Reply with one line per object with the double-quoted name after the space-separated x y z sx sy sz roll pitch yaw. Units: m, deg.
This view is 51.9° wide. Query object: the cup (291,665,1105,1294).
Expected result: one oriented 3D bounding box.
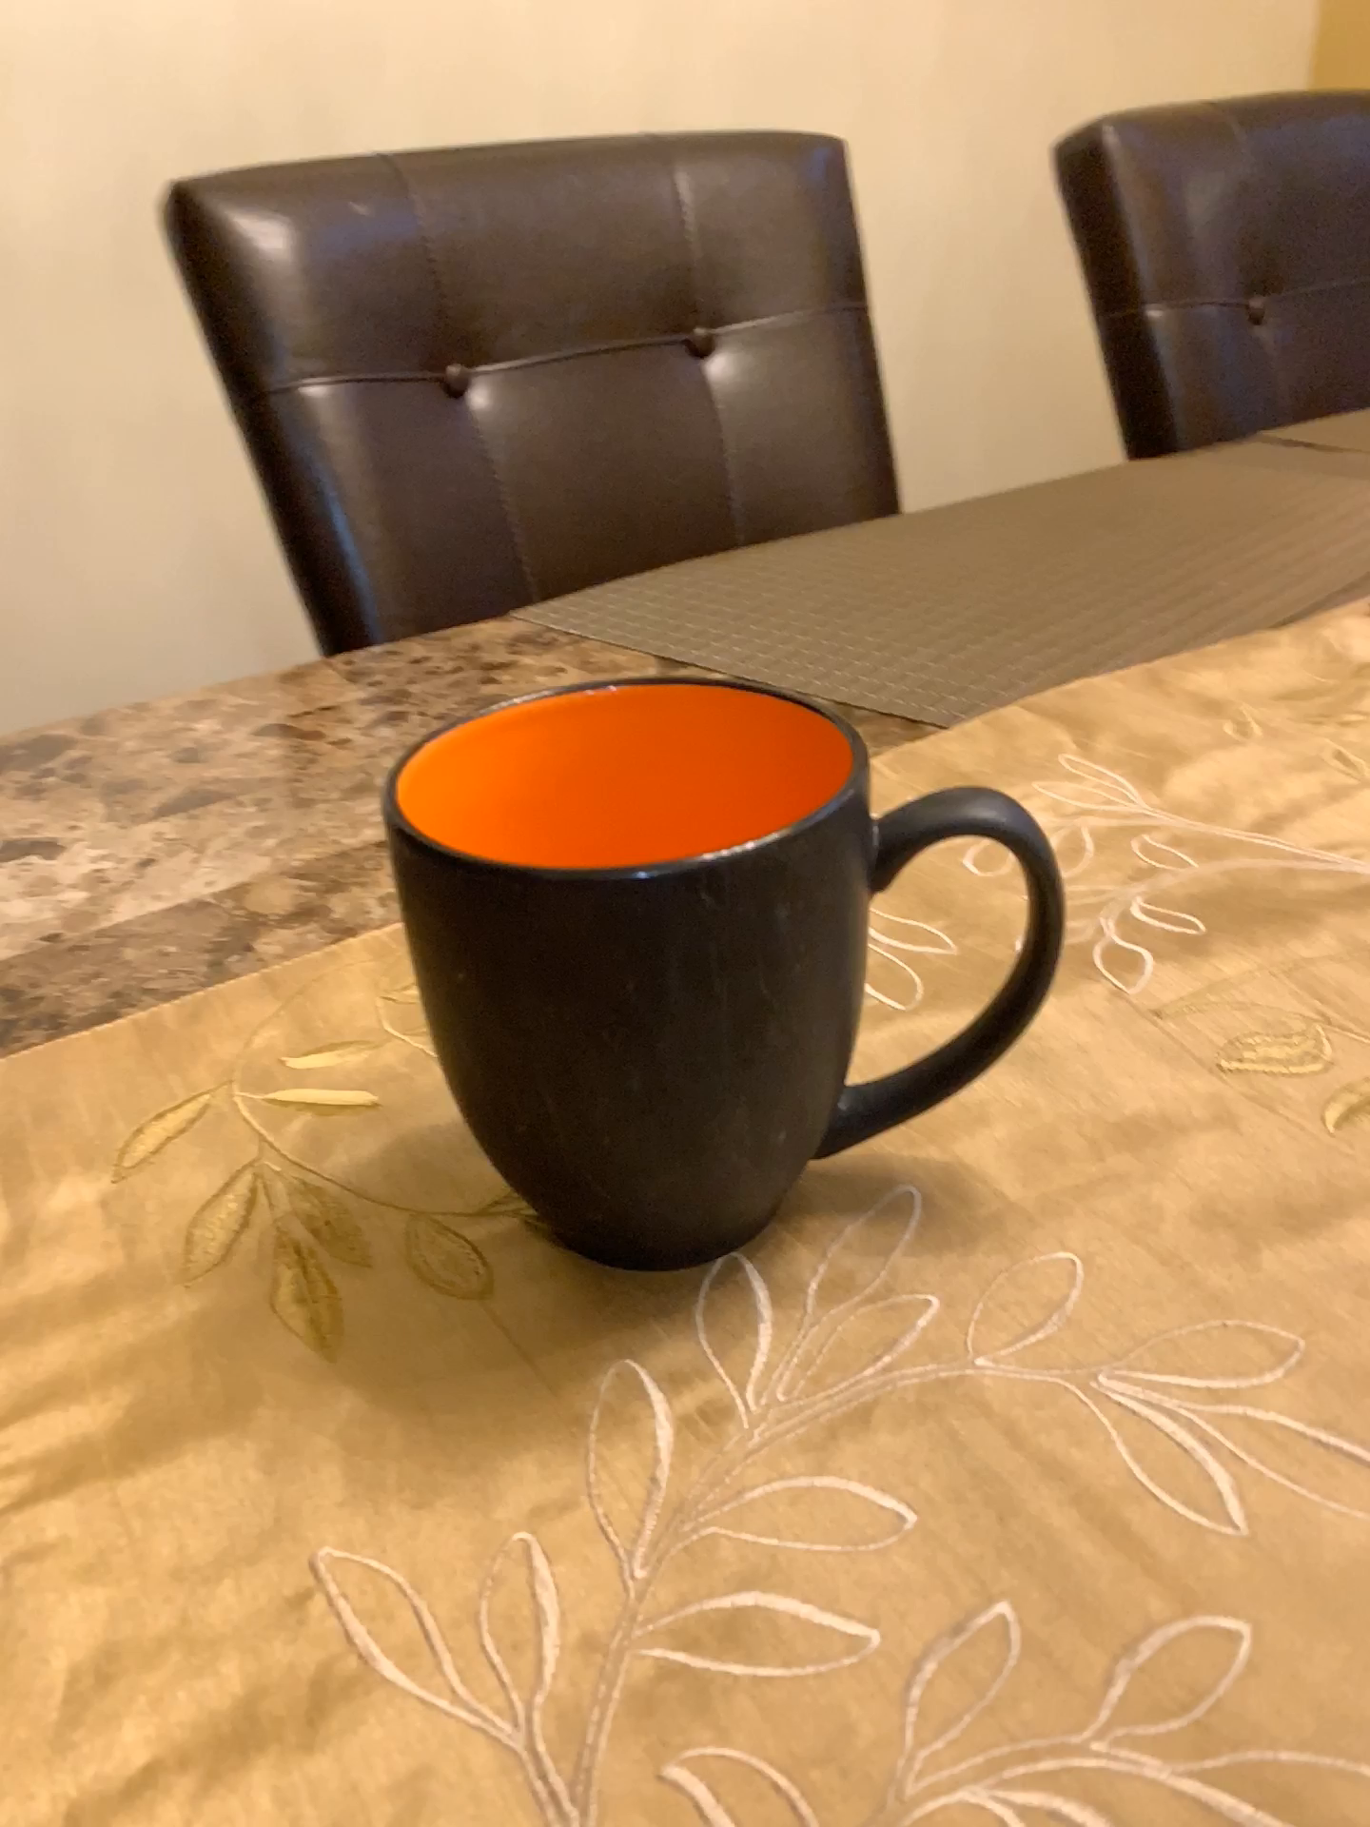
0.007 0.009 0.292 0.132 0.087 0.100 -1 28 6 "cup"
